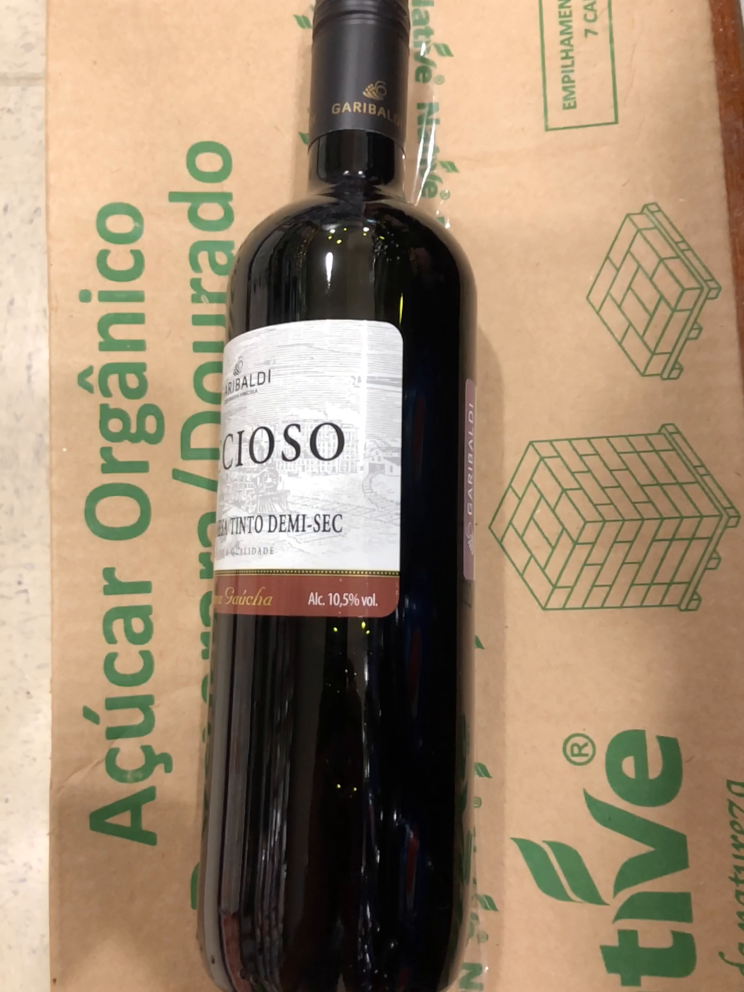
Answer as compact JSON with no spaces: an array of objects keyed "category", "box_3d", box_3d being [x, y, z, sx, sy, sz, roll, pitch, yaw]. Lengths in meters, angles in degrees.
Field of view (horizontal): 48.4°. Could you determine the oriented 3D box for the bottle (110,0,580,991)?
[{"category":"bottle","box_3d":[-0.002,-0.049,0.222,0.090,0.080,0.340,2,82,-3]}]
